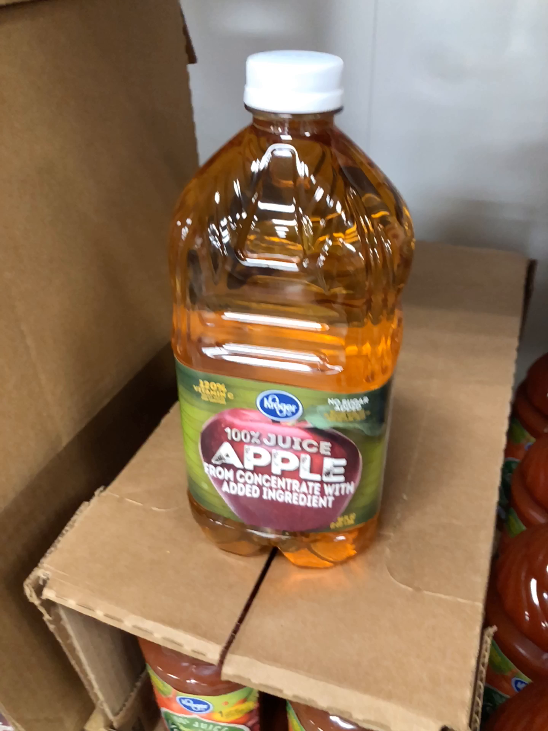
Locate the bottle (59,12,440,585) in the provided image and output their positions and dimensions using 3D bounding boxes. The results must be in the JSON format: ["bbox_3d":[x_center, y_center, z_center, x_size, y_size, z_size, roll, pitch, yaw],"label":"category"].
[{"bbox_3d":[0.004,-0.020,0.306,0.120,0.259,0.100,7,38,12],"label":"bottle"}]
